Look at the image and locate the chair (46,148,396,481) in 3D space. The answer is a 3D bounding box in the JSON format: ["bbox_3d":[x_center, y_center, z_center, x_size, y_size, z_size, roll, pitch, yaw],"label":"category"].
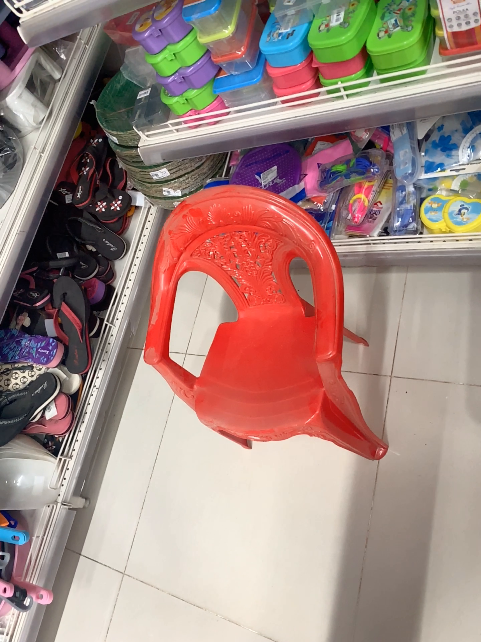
[{"bbox_3d":[0.021,0.040,0.940,0.412,0.498,0.410,-2,67,31],"label":"chair"}]
